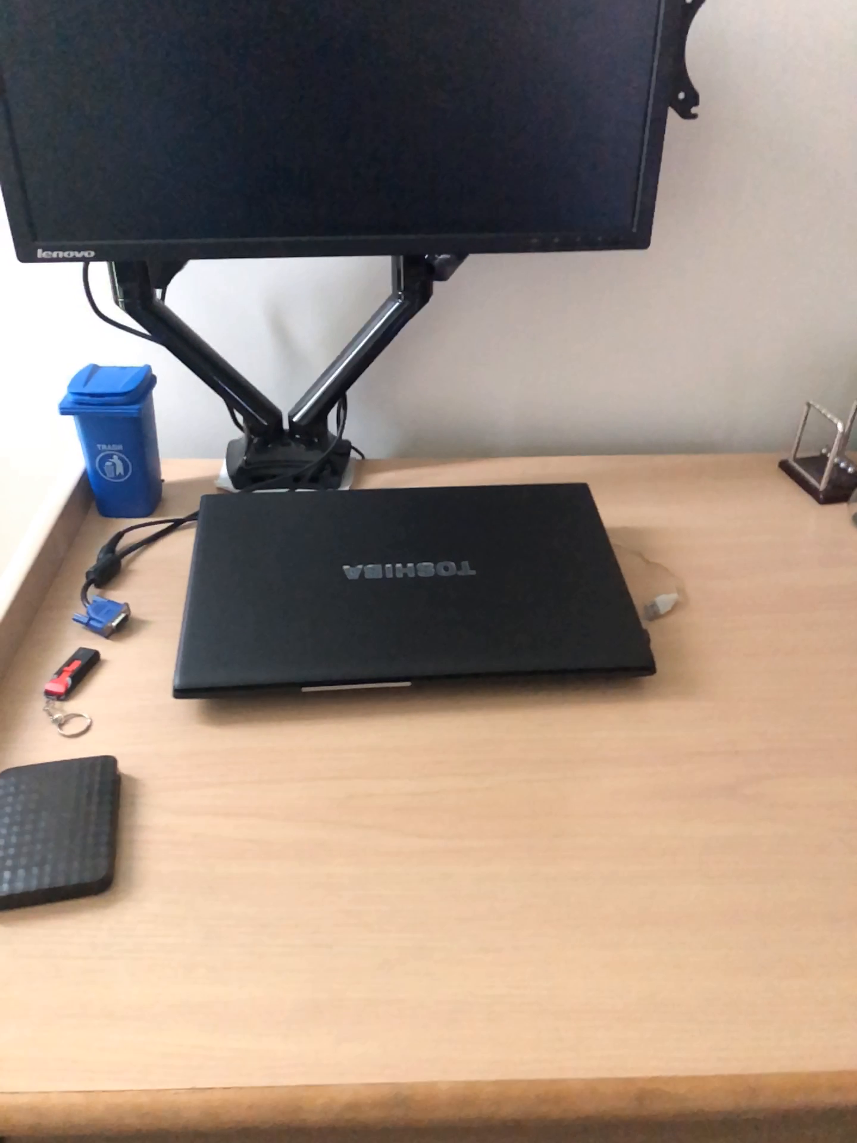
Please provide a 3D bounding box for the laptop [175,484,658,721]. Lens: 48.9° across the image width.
[{"bbox_3d":[-0.017,0.014,0.844,0.380,0.029,0.258,-2,41,-5],"label":"laptop"}]
